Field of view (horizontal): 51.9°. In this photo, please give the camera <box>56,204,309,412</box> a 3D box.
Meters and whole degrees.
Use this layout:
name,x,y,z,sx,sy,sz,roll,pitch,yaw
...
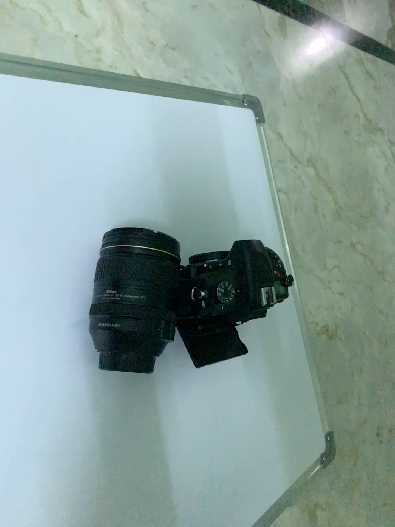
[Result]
name,x,y,z,sx,sy,sz,roll,pitch,yaw
camera,-0.002,0.029,0.436,0.241,0.099,0.160,-10,89,-44
